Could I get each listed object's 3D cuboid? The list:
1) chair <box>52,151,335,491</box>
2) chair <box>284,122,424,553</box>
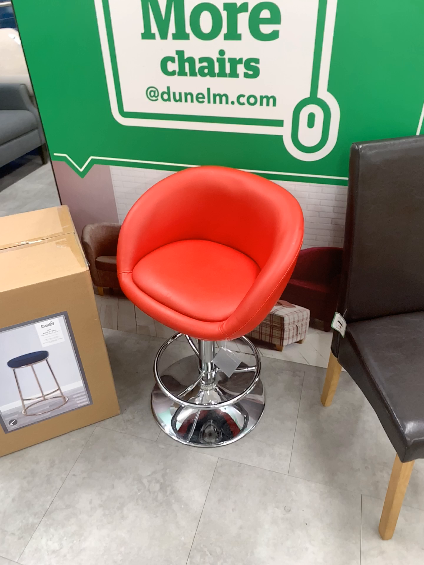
[{"bbox_3d":[-0.023,0.090,1.291,0.536,0.744,0.463,19,41,28],"label":"chair"},{"bbox_3d":[0.539,0.134,1.086,0.504,0.852,0.535,-9,36,-10],"label":"chair"}]
